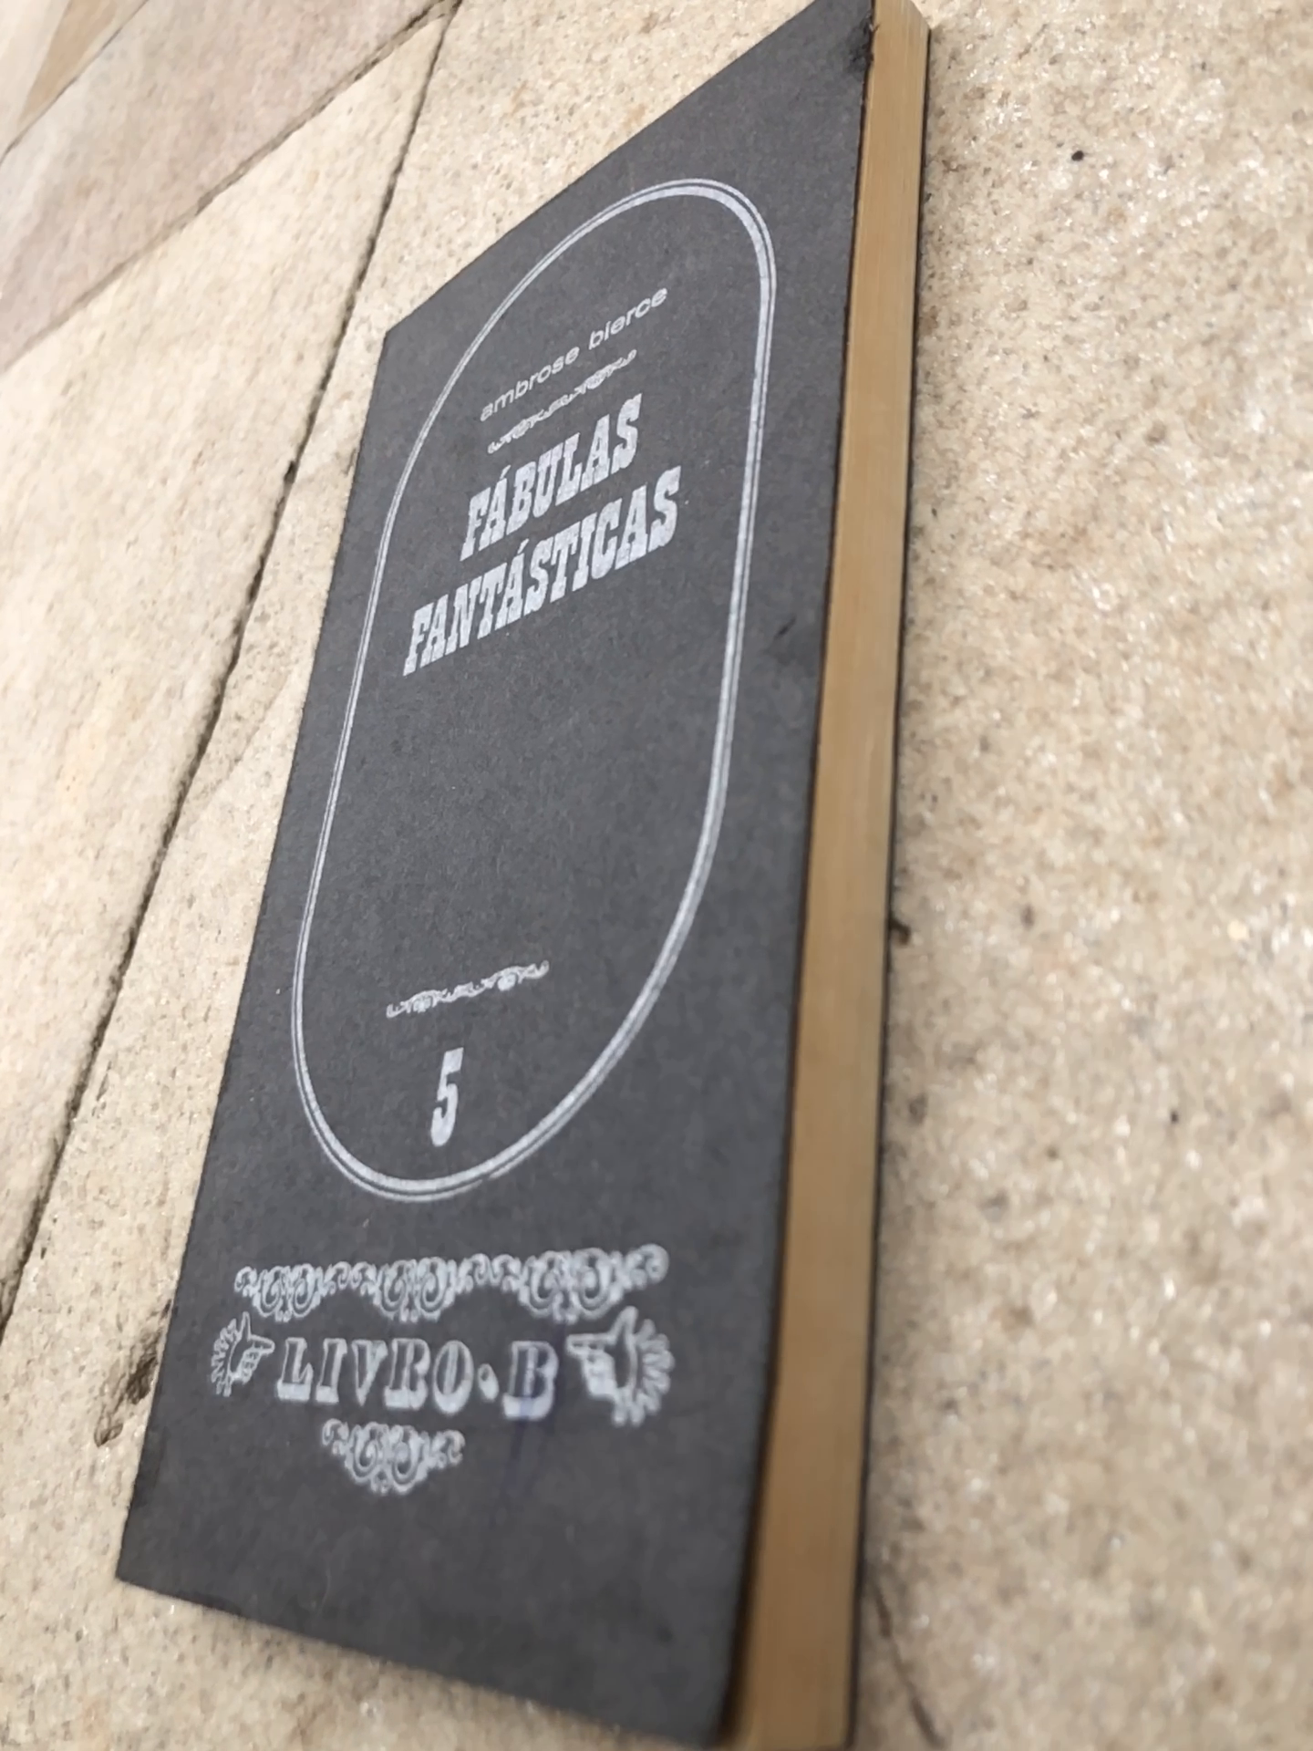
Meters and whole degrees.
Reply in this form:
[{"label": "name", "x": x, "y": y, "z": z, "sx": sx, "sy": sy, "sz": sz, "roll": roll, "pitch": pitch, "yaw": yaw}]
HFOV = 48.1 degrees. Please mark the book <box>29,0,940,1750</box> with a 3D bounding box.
[{"label": "book", "x": -0.019, "y": -0.011, "z": 0.164, "sx": 0.105, "sy": 0.013, "sz": 0.176, "roll": -16, "pitch": 59, "yaw": 43}]
